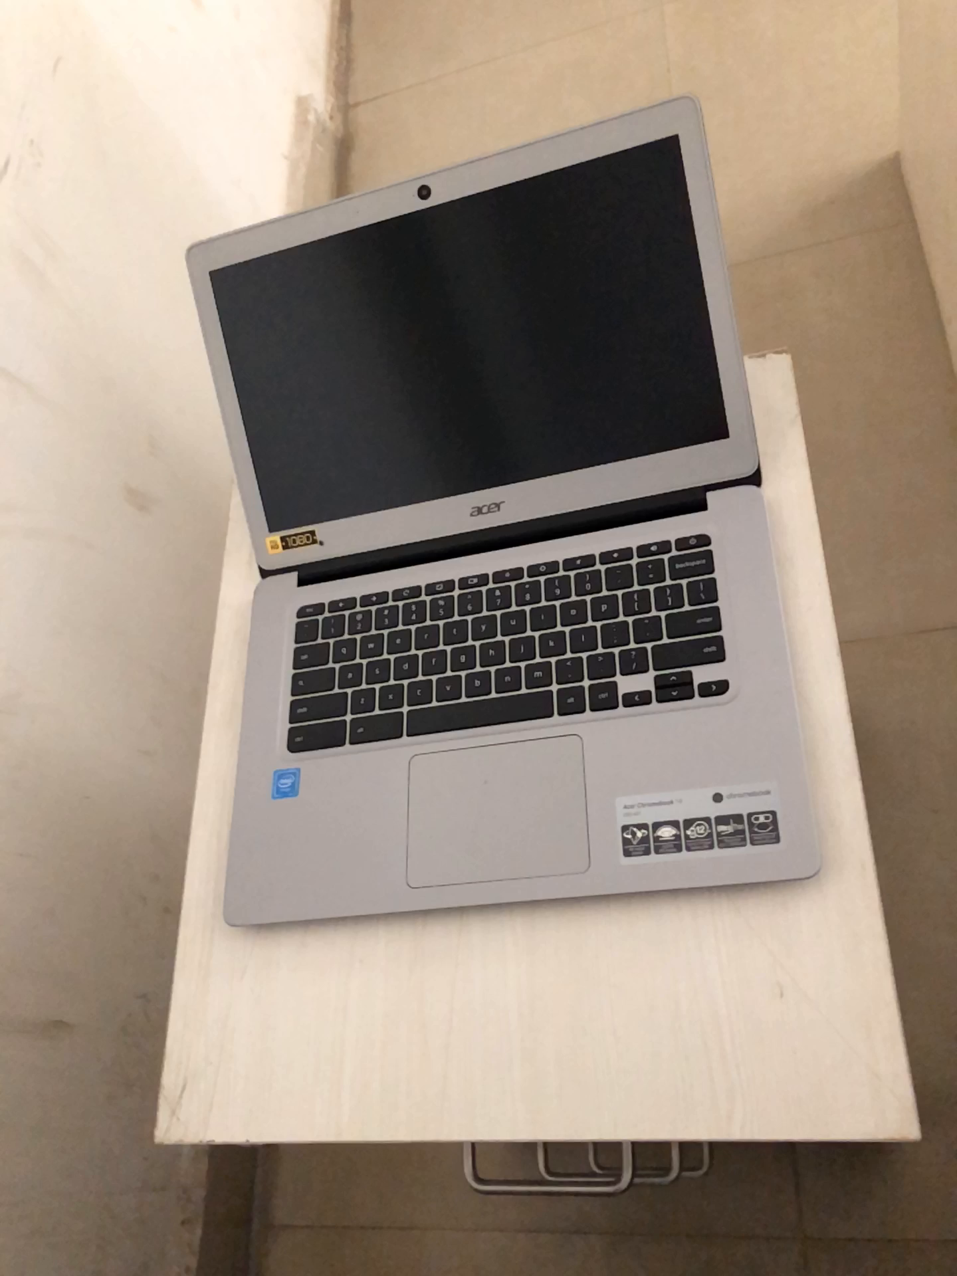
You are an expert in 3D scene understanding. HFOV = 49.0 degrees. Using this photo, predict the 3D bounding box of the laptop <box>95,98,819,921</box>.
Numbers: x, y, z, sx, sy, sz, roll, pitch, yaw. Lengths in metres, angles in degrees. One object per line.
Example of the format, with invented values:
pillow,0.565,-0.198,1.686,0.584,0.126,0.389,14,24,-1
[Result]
laptop,-0.011,-0.069,0.604,0.332,0.126,0.409,-9,63,17
